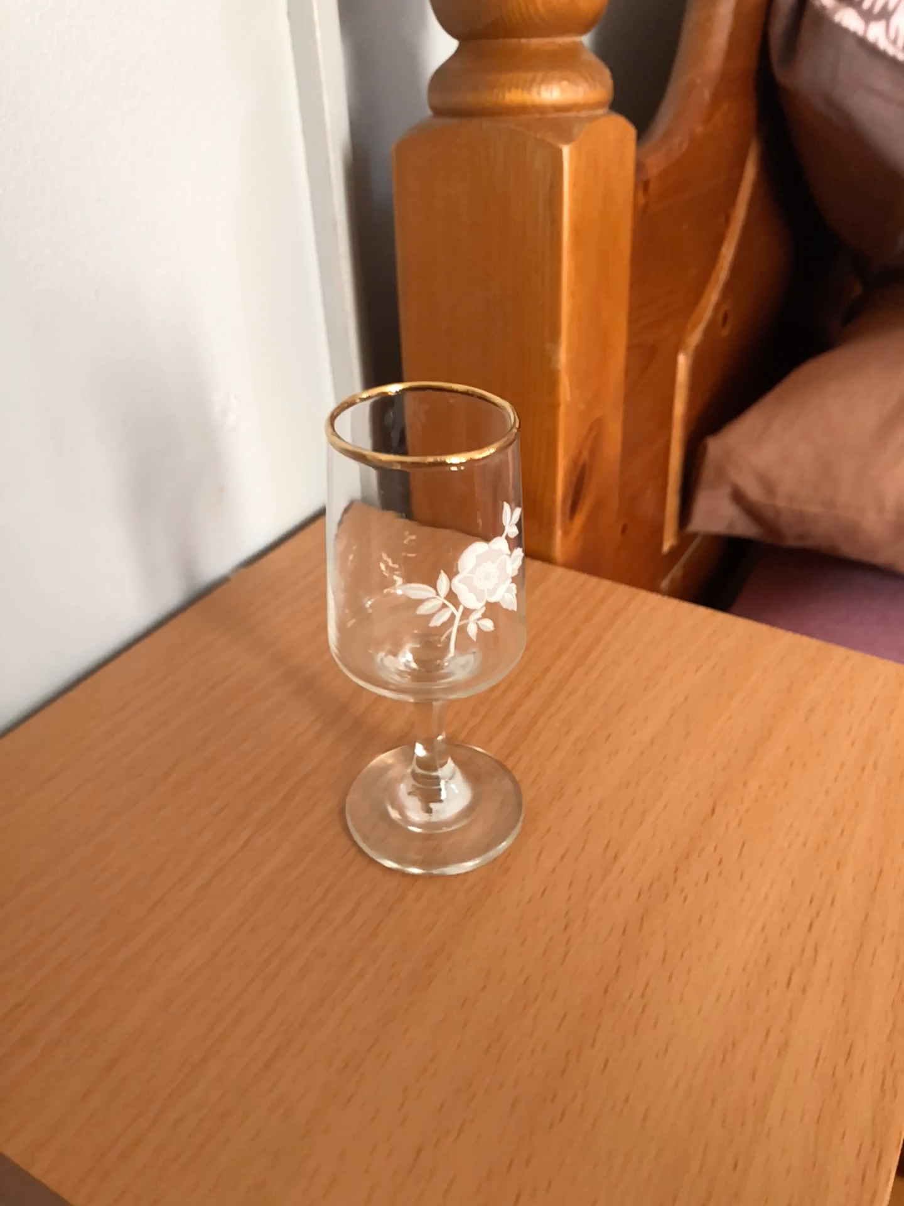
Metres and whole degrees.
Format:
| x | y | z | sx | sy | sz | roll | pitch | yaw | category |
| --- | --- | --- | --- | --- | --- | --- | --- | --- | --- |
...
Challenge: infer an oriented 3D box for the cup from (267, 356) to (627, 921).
| x | y | z | sx | sy | sz | roll | pitch | yaw | category |
| --- | --- | --- | --- | --- | --- | --- | --- | --- | --- |
| -0.002 | 0.007 | 0.236 | 0.052 | 0.107 | 0.056 | -1 | 32 | 0 | cup |
